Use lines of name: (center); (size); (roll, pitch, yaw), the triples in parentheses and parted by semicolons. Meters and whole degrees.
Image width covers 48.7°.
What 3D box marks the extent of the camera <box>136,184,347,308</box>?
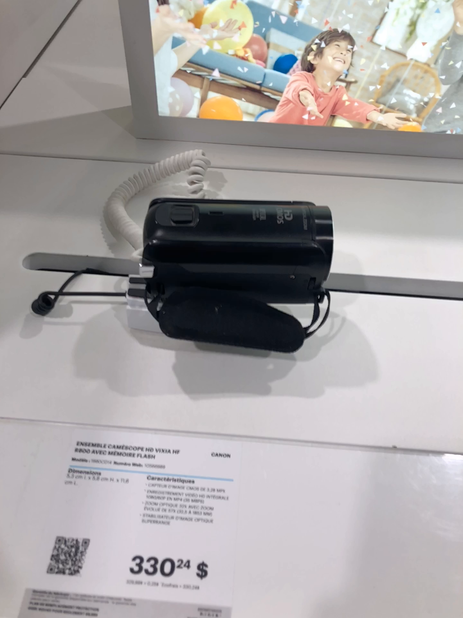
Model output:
camera: (0.005, -0.038, 0.309); (0.113, 0.050, 0.050); (2, 49, -1)
